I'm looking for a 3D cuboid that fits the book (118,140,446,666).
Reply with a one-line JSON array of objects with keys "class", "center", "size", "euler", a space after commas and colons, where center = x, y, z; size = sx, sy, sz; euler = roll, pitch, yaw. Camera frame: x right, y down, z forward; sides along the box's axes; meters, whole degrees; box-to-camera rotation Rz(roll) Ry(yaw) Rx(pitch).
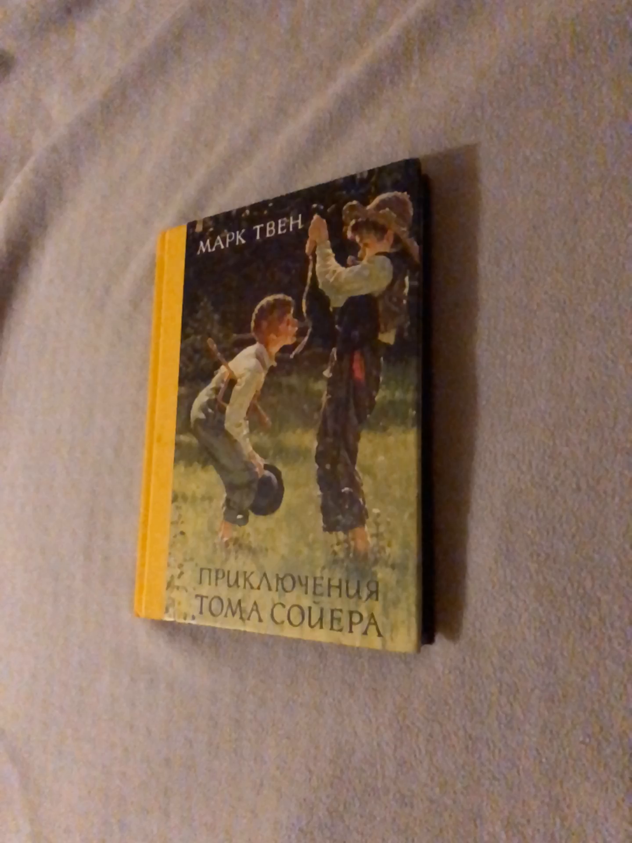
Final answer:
[{"class": "book", "center": [-0.021, -0.008, 0.351], "size": [0.171, 0.030, 0.224], "euler": [-4, 79, 33]}]
